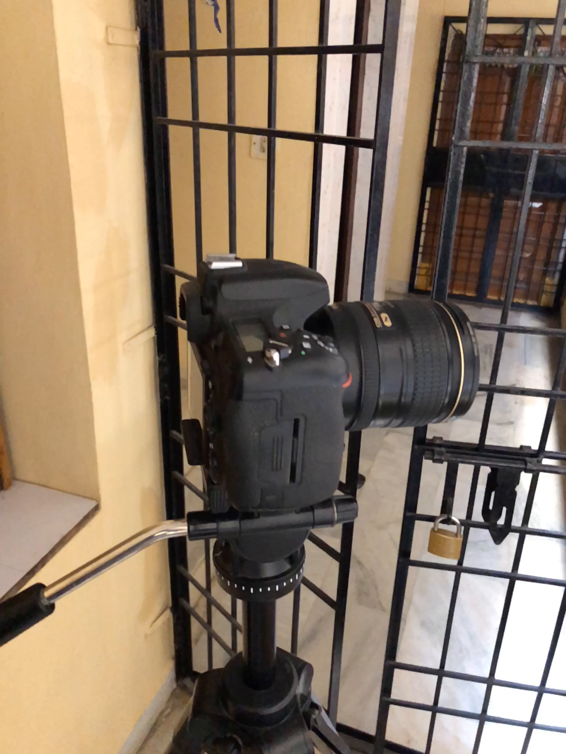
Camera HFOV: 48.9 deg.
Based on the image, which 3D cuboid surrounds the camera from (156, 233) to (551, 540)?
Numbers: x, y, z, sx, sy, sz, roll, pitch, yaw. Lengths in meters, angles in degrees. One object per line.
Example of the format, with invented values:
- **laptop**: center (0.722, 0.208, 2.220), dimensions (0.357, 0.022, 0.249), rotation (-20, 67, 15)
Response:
- **camera**: center (0.021, -0.012, 0.368), dimensions (0.171, 0.105, 0.171), rotation (-4, 25, -14)
